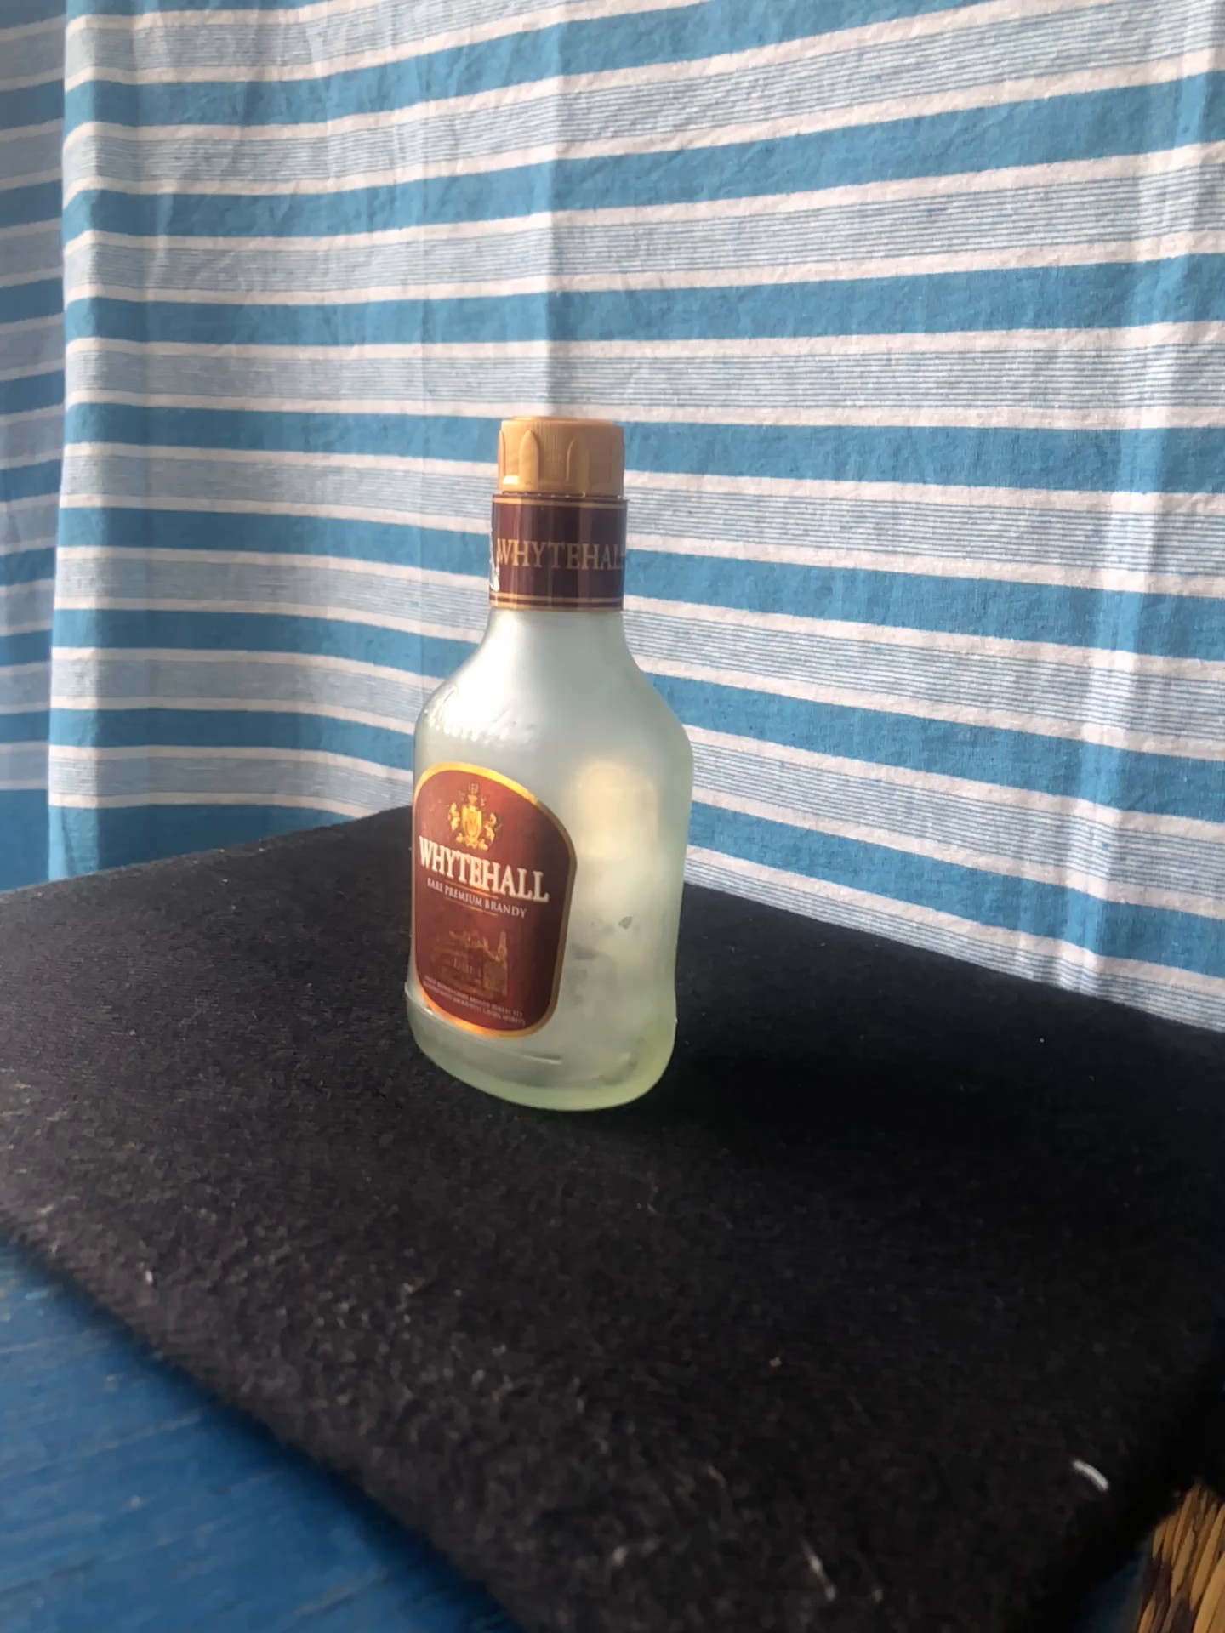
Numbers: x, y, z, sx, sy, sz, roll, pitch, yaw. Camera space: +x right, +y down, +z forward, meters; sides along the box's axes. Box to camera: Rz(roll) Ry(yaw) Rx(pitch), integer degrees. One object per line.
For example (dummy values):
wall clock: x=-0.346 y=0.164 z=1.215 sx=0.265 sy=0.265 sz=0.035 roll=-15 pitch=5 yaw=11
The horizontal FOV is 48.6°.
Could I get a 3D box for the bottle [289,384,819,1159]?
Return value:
bottle: x=-0.015 y=-0.016 z=0.270 sx=0.080 sy=0.130 sz=0.060 roll=17 pitch=21 yaw=41
